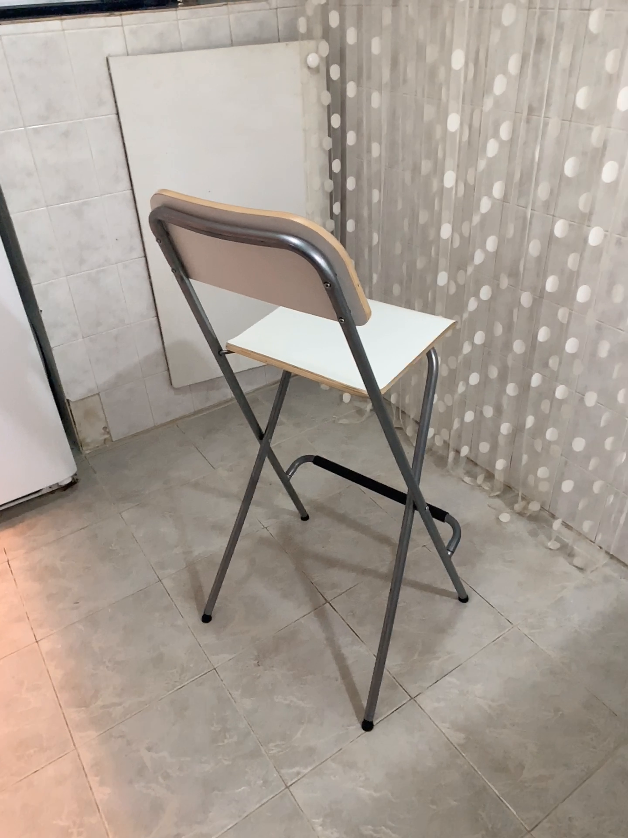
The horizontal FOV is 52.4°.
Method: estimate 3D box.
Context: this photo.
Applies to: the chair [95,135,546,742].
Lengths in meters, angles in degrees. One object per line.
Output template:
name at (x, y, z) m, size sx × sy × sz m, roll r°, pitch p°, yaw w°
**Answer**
chair at (0.031, 0.040, 1.288) m, size 0.538 × 1.008 × 0.467 m, roll 22°, pitch 41°, yaw 30°
